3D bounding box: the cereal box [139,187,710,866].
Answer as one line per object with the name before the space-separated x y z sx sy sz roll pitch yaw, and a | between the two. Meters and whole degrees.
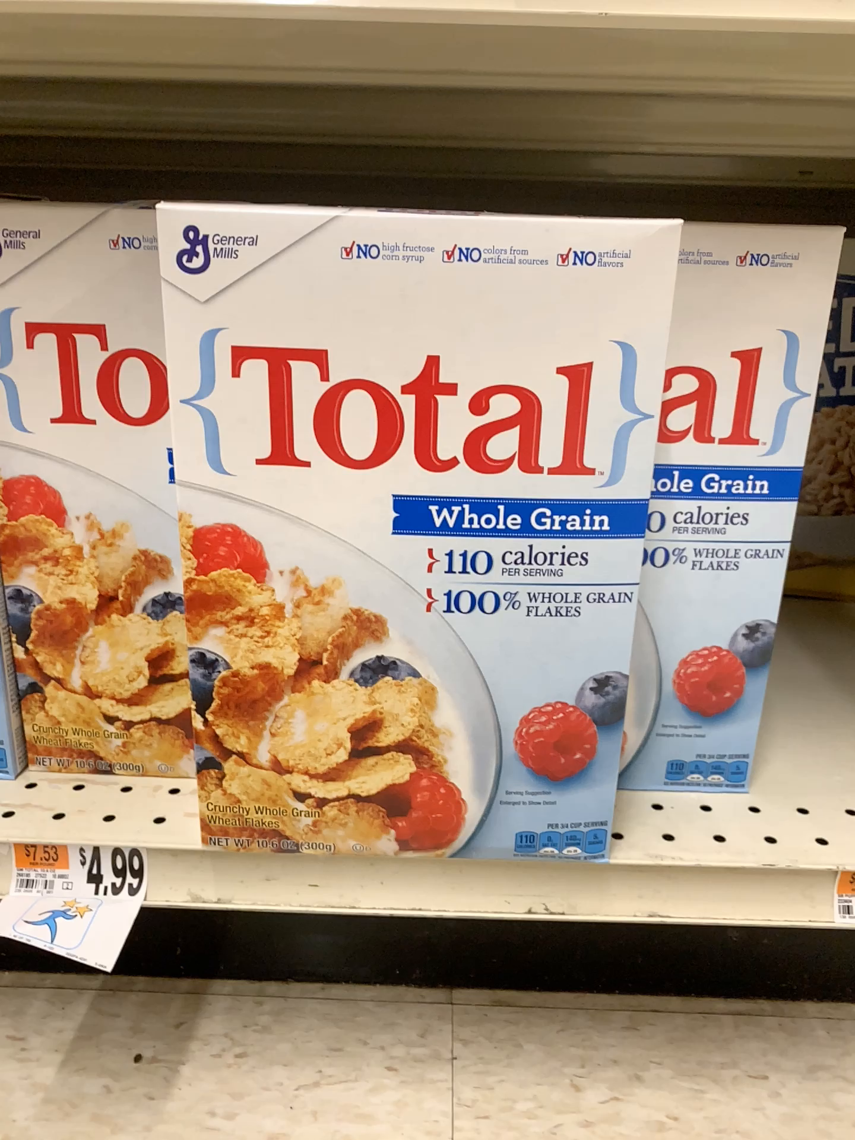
cereal box | -0.004 -0.009 0.378 0.200 0.279 0.050 2 20 1
